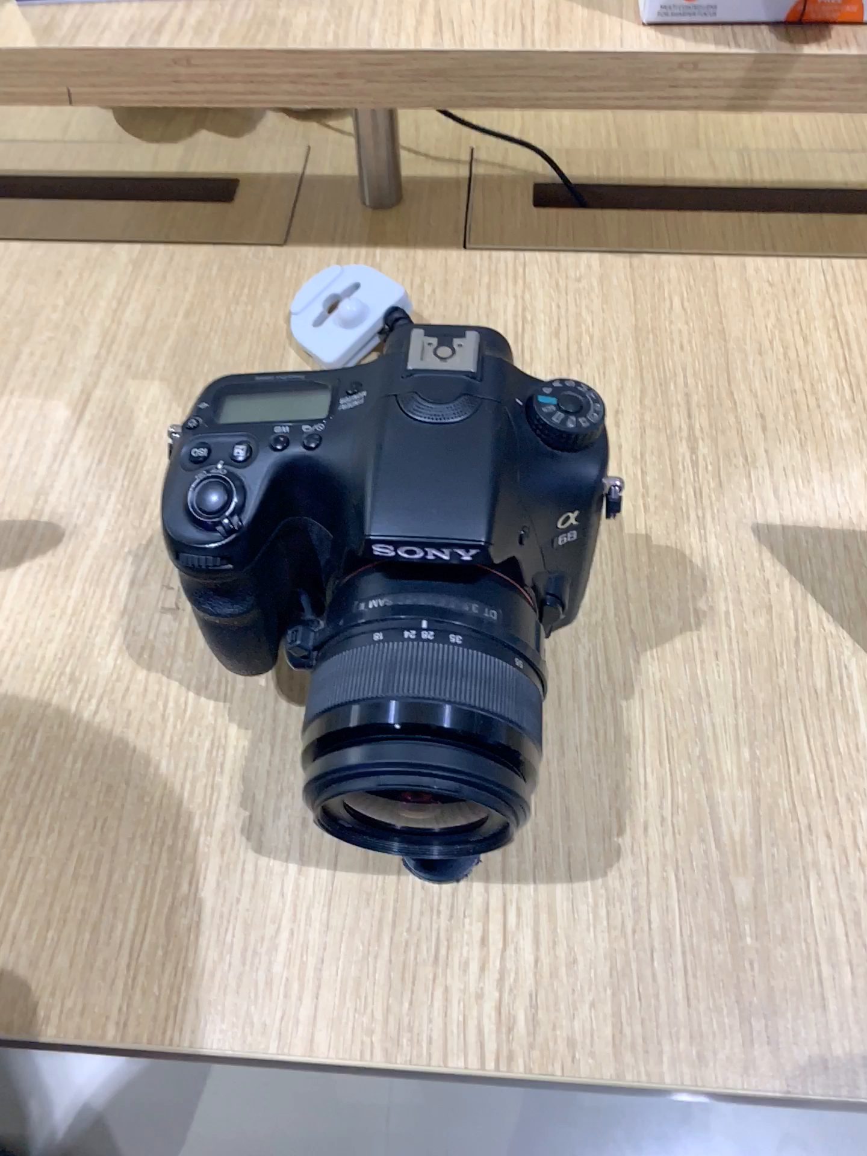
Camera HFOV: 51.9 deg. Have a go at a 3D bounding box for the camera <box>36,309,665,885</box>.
[{"bbox_3d":[-0.014,0.006,0.262,0.130,0.100,0.134,1,57,3],"label":"camera"}]
